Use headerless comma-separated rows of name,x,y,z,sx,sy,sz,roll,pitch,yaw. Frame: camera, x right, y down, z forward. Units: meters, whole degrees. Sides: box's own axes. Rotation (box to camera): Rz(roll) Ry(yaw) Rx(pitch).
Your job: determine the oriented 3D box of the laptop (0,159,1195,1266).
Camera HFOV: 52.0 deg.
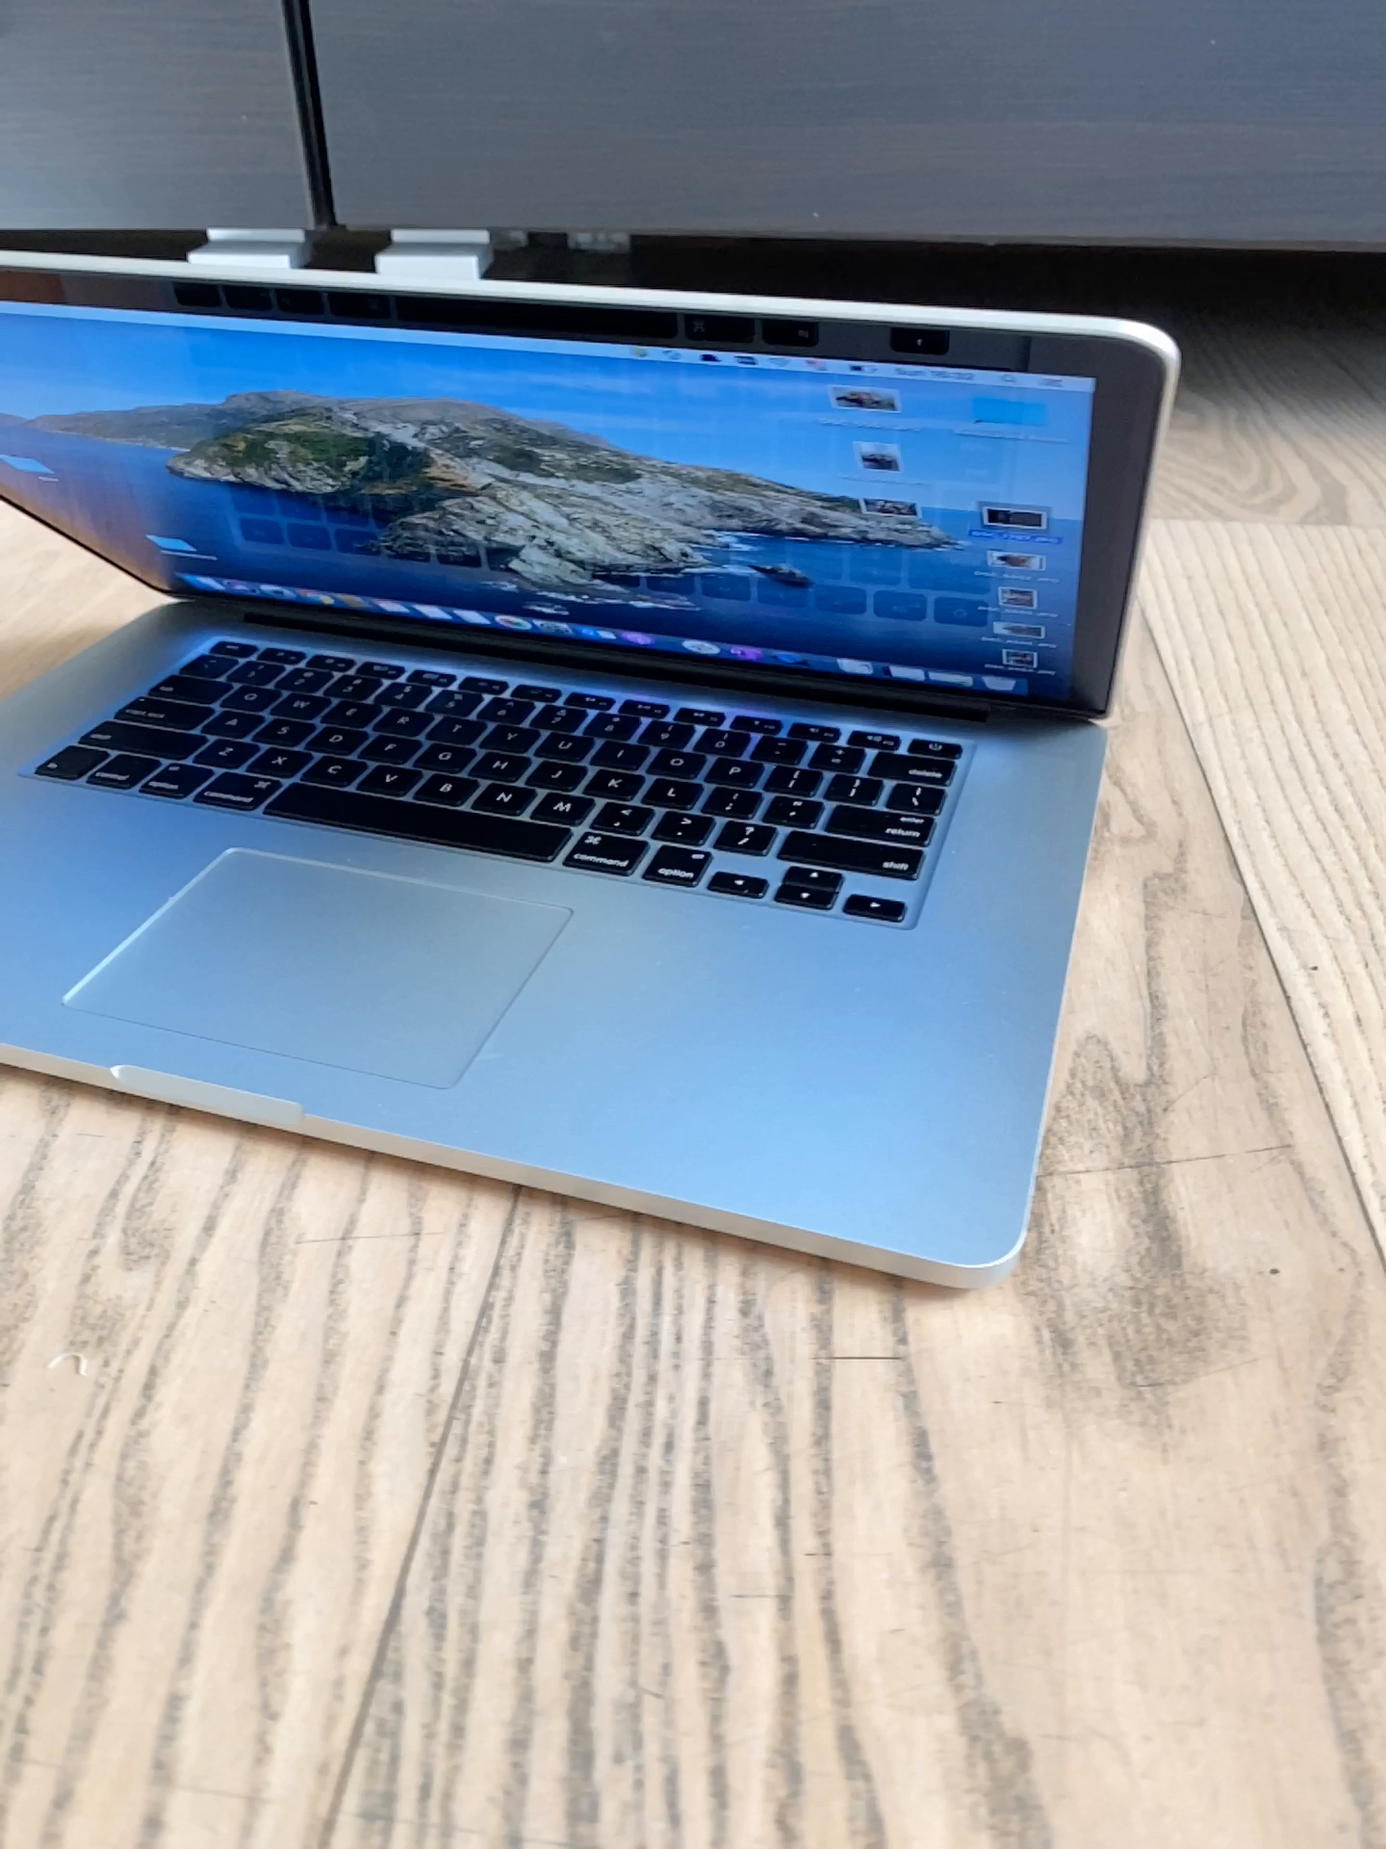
laptop,-0.074,-0.093,0.380,0.362,0.157,0.237,10,36,14
